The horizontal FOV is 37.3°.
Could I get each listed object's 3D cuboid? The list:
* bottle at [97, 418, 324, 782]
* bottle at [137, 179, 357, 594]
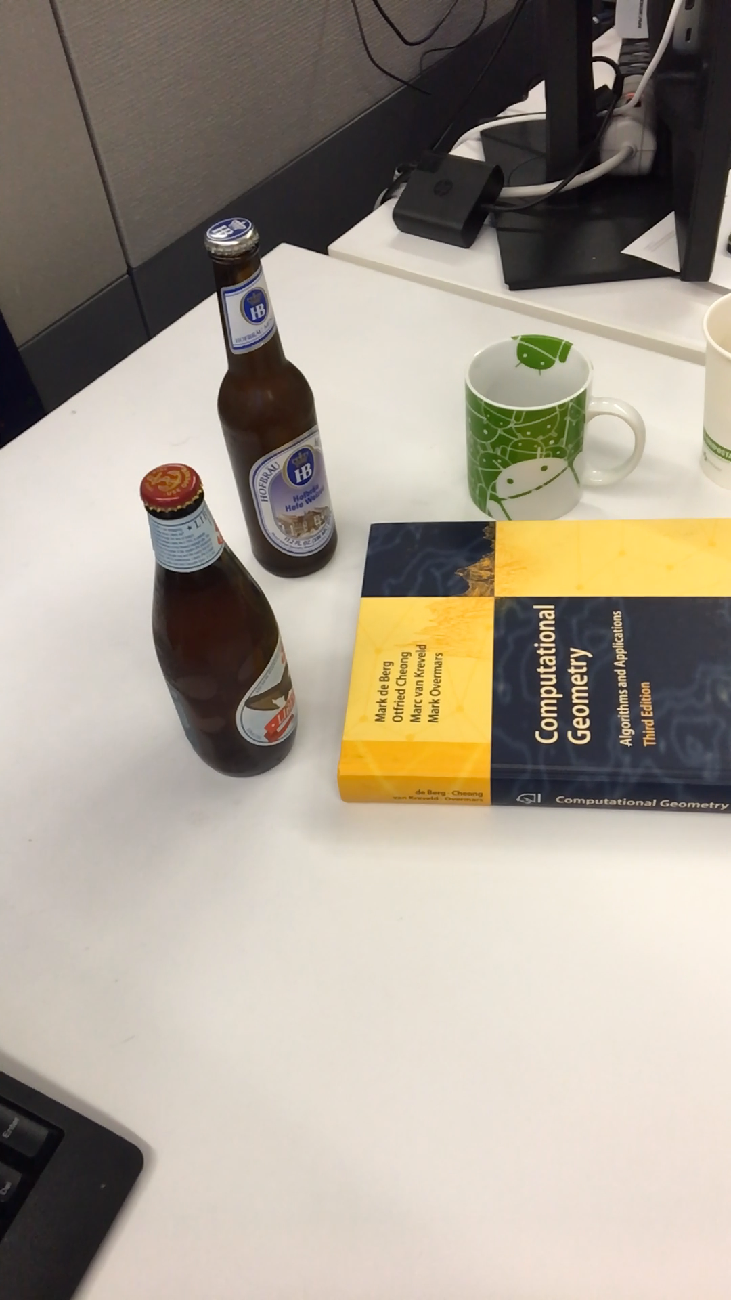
[{"bbox_3d":[-0.067,-0.017,0.534,0.070,0.180,0.070,-4,48,4],"label":"bottle"},{"bbox_3d":[-0.061,-0.142,0.625,0.060,0.220,0.070,-35,54,-22],"label":"bottle"}]
